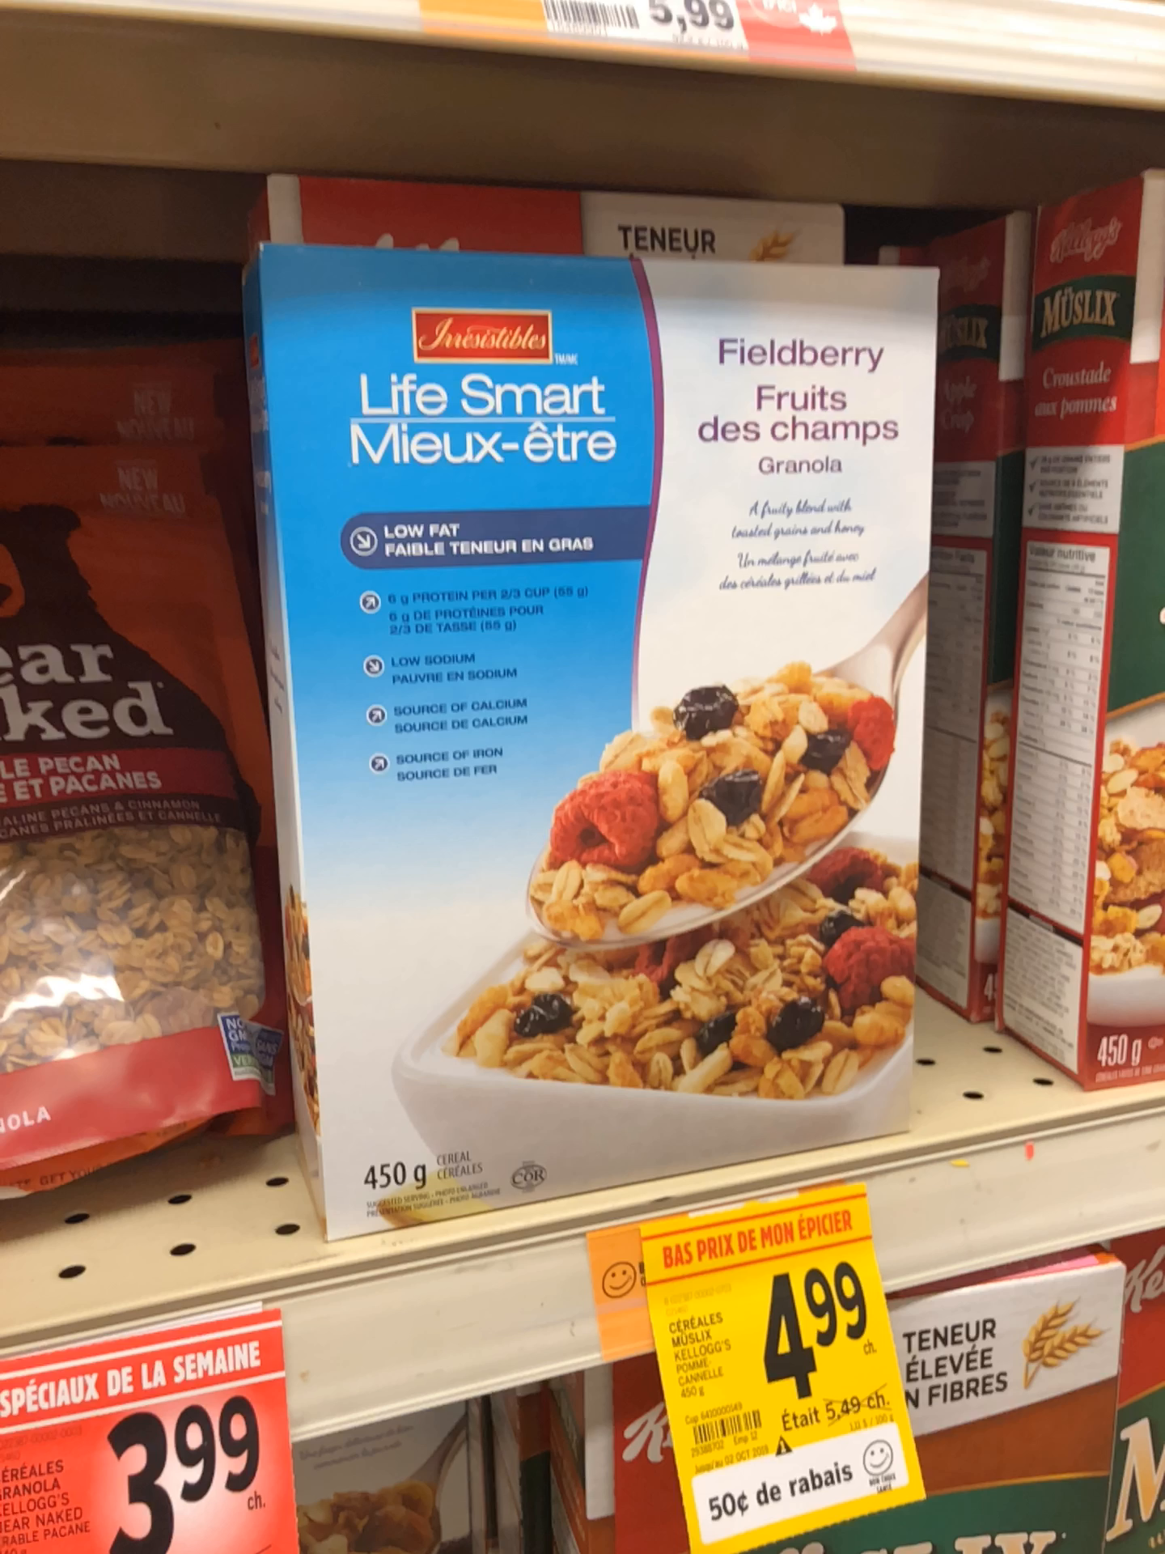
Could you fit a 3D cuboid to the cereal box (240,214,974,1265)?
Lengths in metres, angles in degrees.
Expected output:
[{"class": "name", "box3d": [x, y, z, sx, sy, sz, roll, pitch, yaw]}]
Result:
[{"class": "cereal box", "box3d": [0.008, -0.010, 0.337, 0.170, 0.239, 0.050, -5, 13, -17]}]
